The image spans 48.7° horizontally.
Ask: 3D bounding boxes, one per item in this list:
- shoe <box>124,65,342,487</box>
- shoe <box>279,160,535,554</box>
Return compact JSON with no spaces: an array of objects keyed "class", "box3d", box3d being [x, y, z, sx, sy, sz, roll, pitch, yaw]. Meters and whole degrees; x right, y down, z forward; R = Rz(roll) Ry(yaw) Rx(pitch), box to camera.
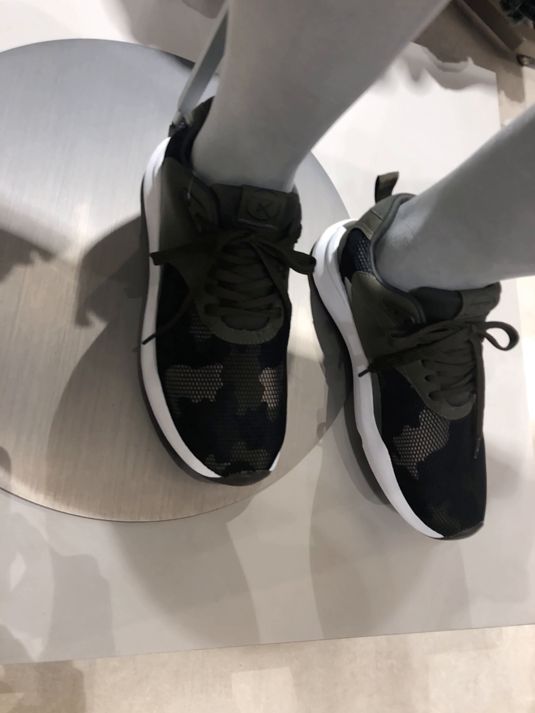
[{"class":"shoe","box3d":[-0.036,-0.046,0.423,0.100,0.120,0.260,0,77,-24]},{"class":"shoe","box3d":[0.117,-0.001,0.480,0.110,0.110,0.280,-11,81,-26]}]
